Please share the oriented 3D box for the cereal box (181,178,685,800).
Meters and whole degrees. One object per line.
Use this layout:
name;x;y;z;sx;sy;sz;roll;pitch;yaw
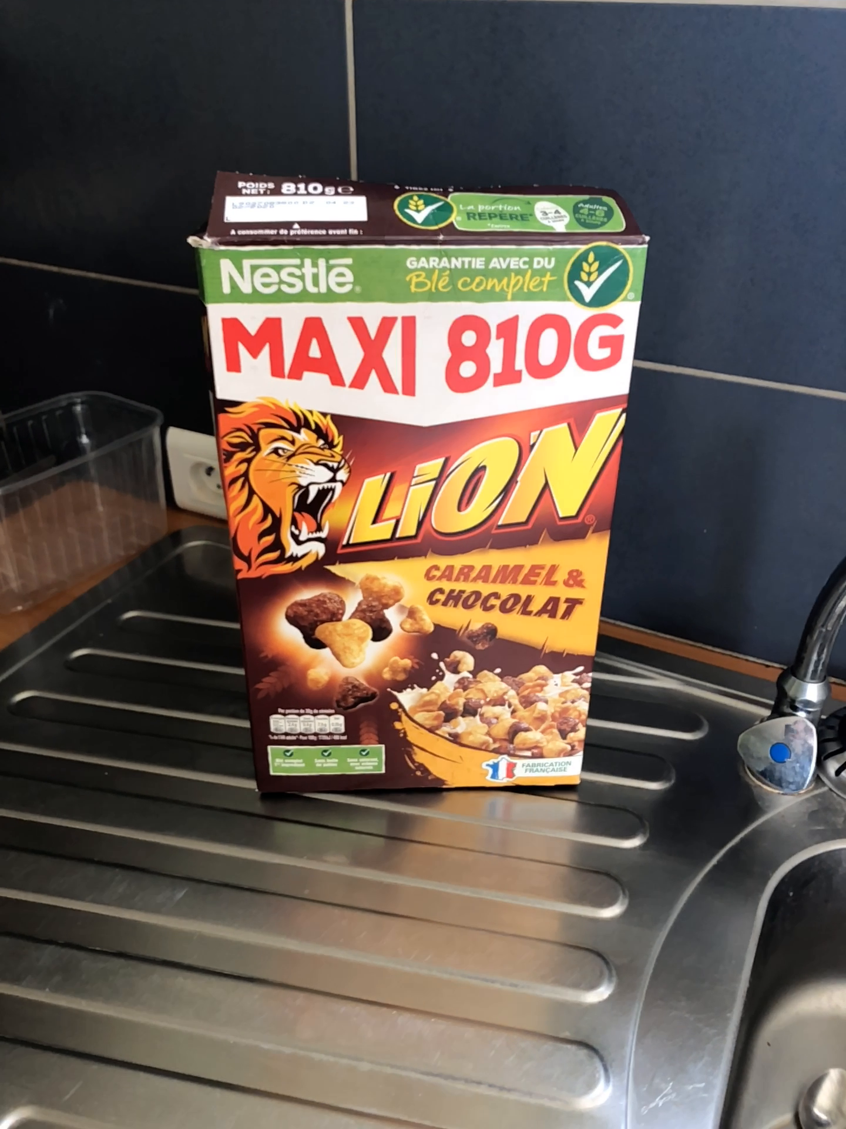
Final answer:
cereal box;0.002;-0.023;0.487;0.200;0.318;0.080;0;31;-2
